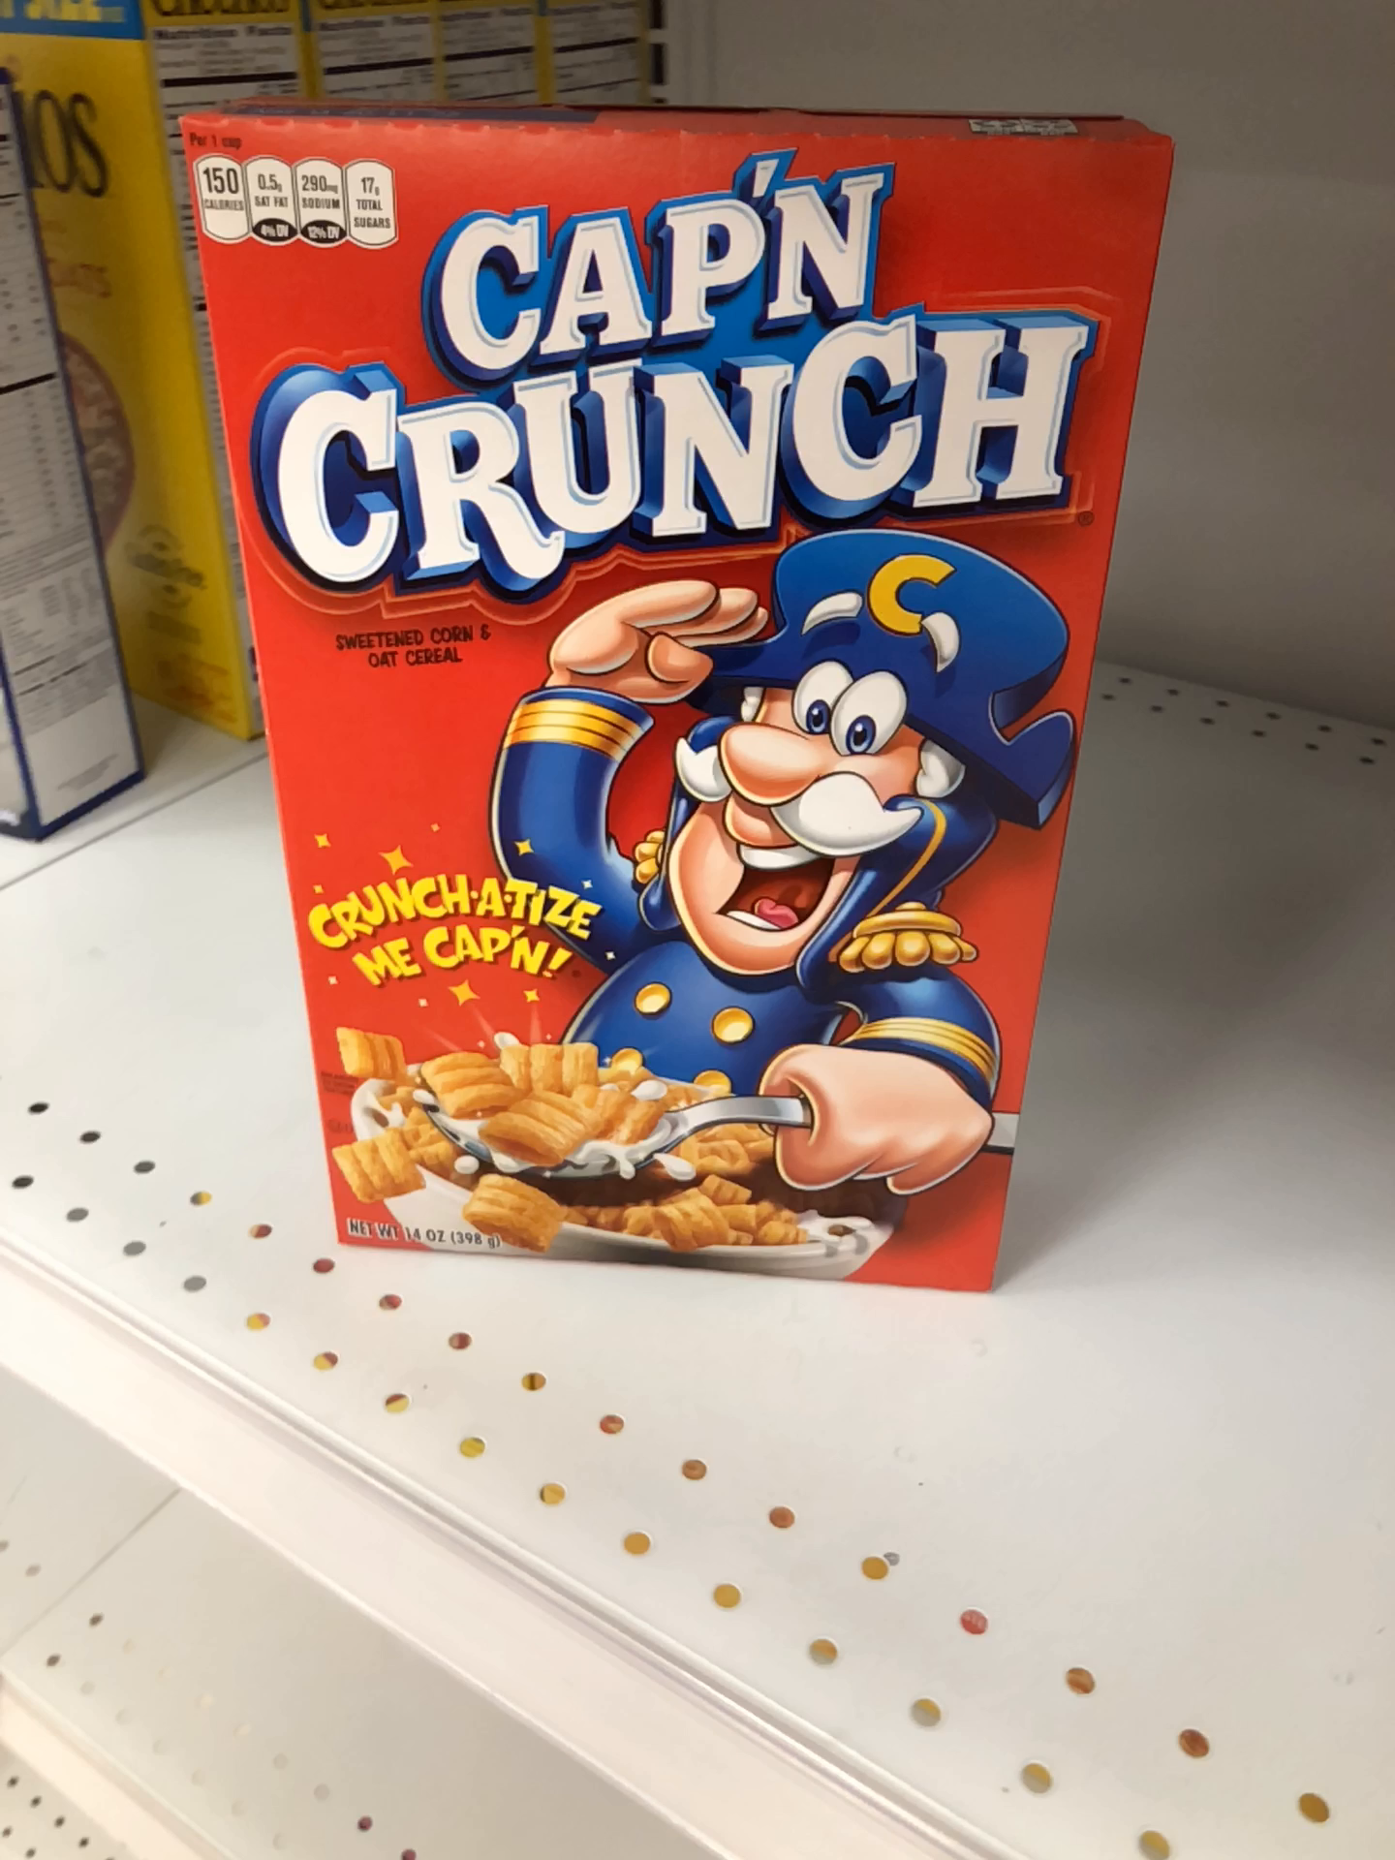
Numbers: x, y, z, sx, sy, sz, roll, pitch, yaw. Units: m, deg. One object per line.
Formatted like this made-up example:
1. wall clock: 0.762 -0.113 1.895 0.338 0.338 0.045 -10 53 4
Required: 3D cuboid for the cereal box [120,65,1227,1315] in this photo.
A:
1. cereal box: -0.006 -0.044 0.405 0.210 0.309 0.070 4 32 4
